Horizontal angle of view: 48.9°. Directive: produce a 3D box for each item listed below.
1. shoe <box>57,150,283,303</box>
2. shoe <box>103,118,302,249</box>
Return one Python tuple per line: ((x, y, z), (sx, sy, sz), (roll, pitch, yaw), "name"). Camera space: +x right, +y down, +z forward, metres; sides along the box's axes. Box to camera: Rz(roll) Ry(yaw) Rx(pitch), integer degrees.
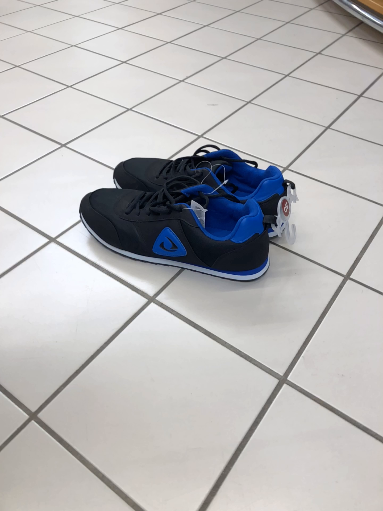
((-0.031, -0.048, 0.607), (0.290, 0.109, 0.101), (17, 47, 16), "shoe")
((0.015, -0.122, 0.686), (0.290, 0.109, 0.101), (17, 47, 16), "shoe")
